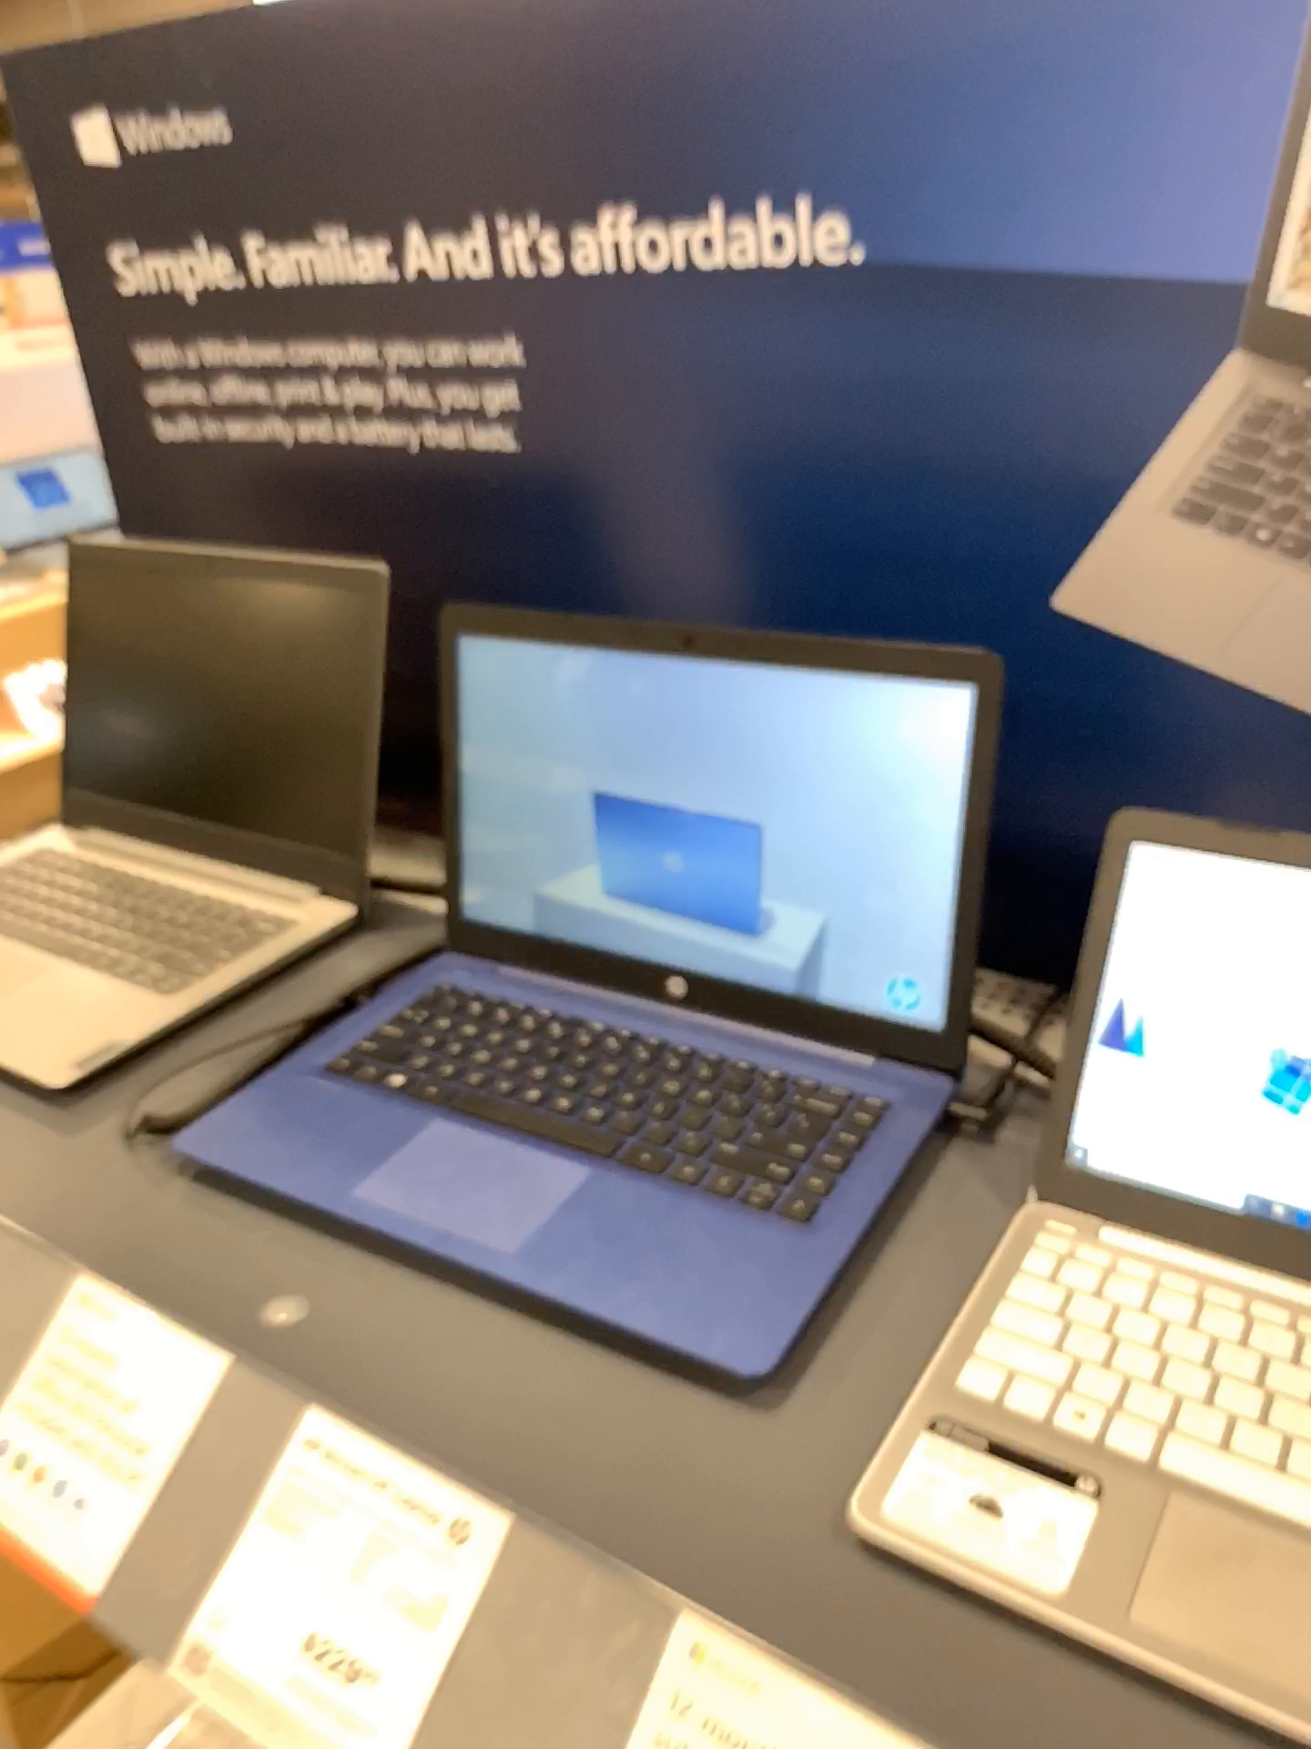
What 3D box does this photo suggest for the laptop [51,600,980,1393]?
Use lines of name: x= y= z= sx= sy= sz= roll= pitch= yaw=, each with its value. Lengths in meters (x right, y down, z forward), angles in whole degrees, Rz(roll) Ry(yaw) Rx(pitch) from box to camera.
laptop: x=-0.047 y=0.020 z=0.641 sx=0.322 sy=0.208 sz=0.253 roll=12 pitch=30 yaw=28
